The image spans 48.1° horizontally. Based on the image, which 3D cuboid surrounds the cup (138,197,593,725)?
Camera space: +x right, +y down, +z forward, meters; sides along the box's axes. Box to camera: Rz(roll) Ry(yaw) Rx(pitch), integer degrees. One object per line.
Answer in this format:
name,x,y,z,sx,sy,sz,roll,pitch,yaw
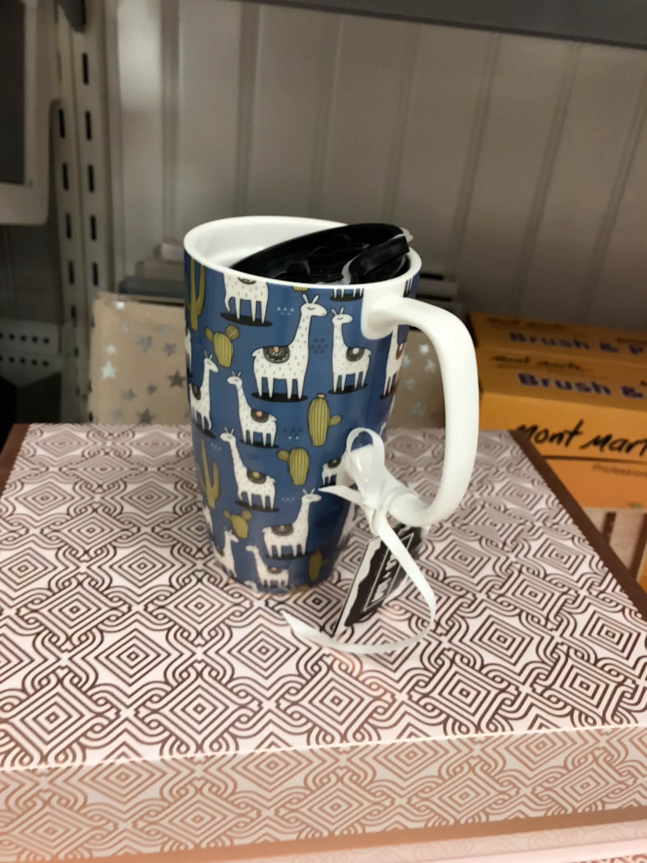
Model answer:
cup,0.006,-0.001,0.275,0.126,0.138,0.090,29,36,35
